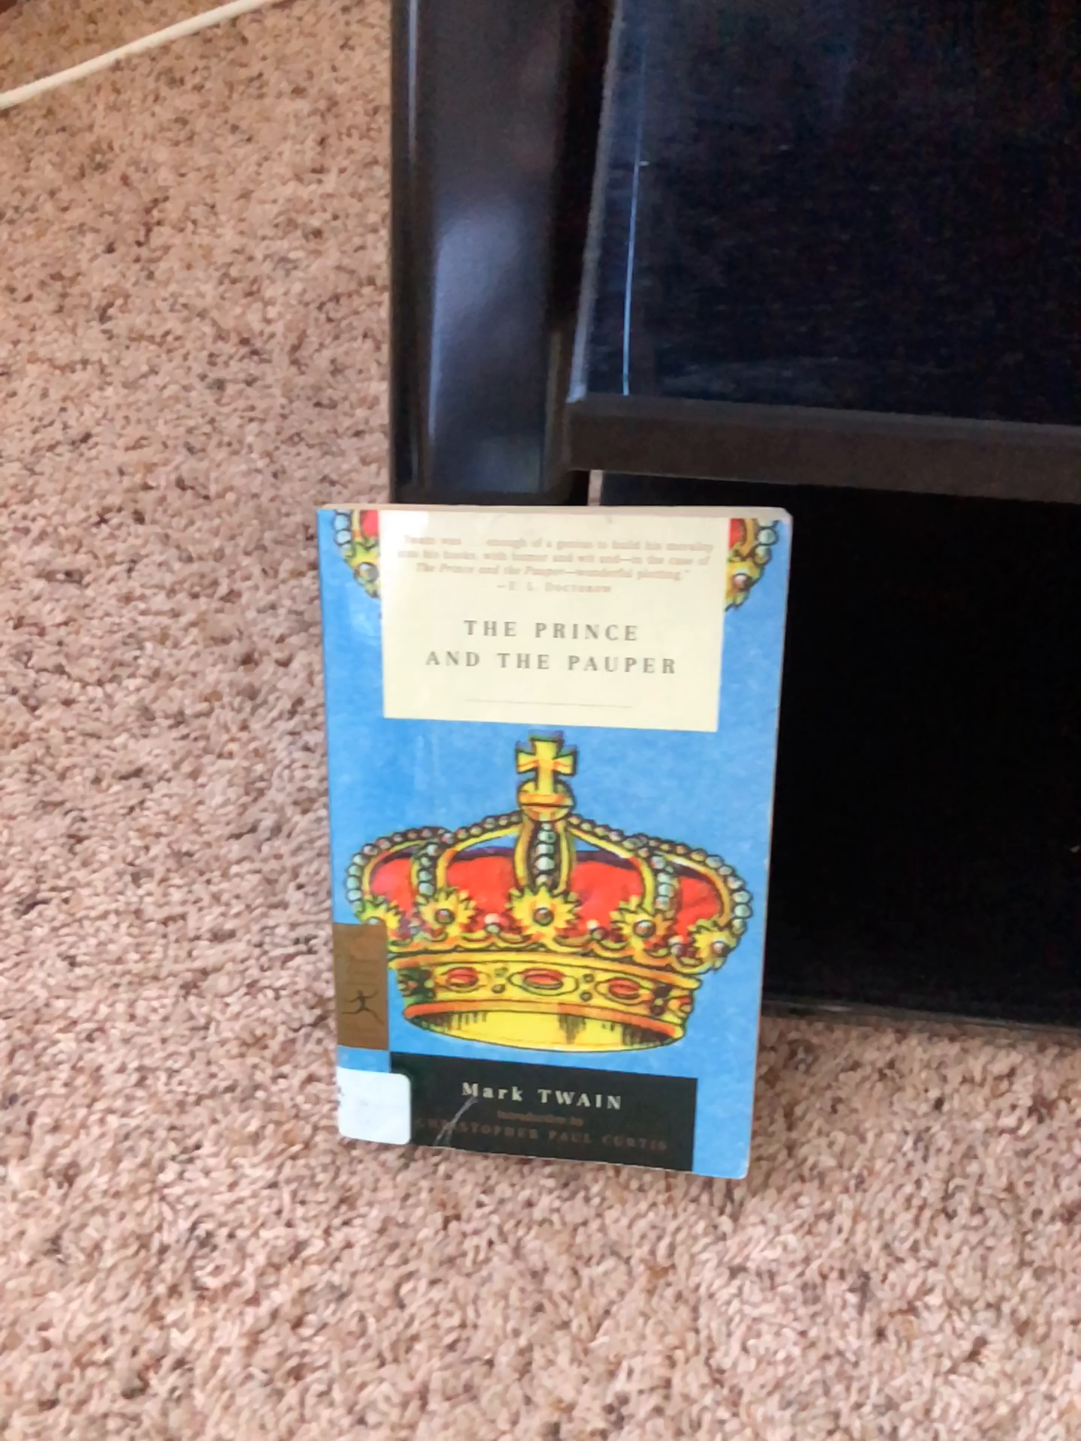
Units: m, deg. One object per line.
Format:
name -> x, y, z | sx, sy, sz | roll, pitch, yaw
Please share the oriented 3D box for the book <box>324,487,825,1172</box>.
book -> 0.005, 0.034, 0.353 | 0.130, 0.030, 0.193 | 4, 104, 3
